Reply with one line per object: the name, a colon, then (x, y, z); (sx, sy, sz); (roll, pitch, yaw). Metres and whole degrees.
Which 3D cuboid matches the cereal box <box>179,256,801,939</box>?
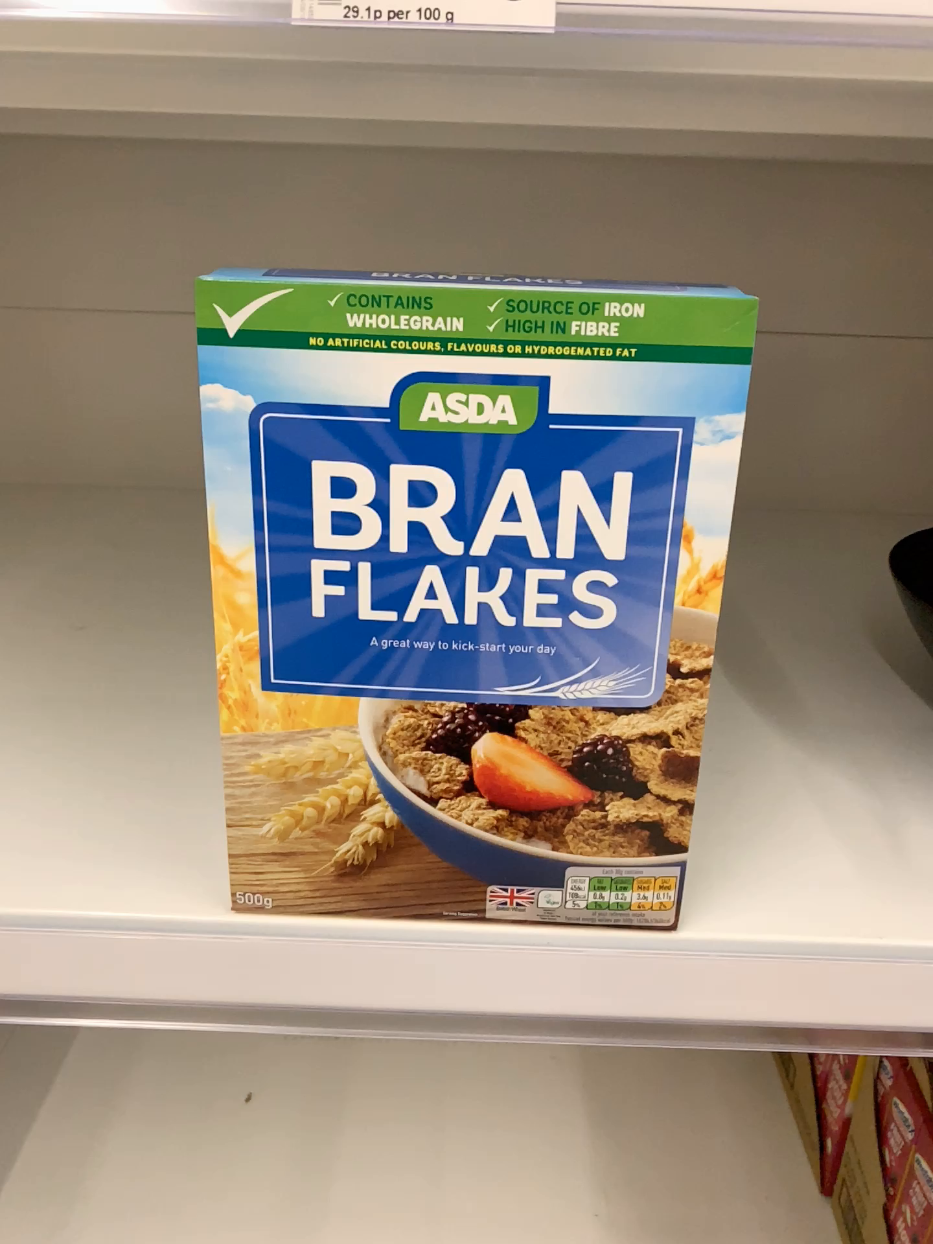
cereal box: (0.004, -0.008, 0.422); (0.220, 0.278, 0.081); (2, 19, 1)
